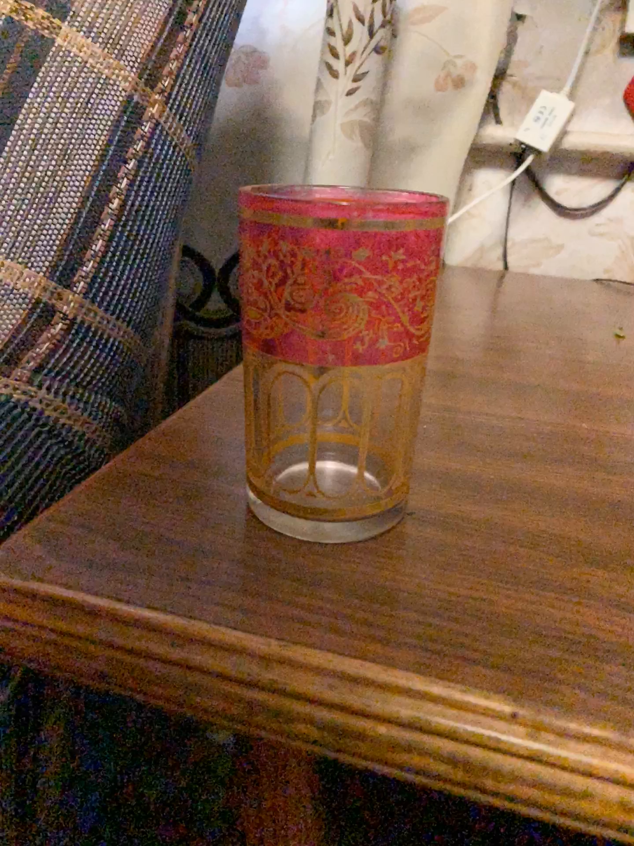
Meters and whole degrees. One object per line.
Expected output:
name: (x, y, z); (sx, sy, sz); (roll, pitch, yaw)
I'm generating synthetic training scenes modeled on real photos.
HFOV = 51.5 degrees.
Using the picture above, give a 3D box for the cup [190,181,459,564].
cup: (0.005, -0.022, 0.209); (0.066, 0.099, 0.070); (3, 21, -1)
